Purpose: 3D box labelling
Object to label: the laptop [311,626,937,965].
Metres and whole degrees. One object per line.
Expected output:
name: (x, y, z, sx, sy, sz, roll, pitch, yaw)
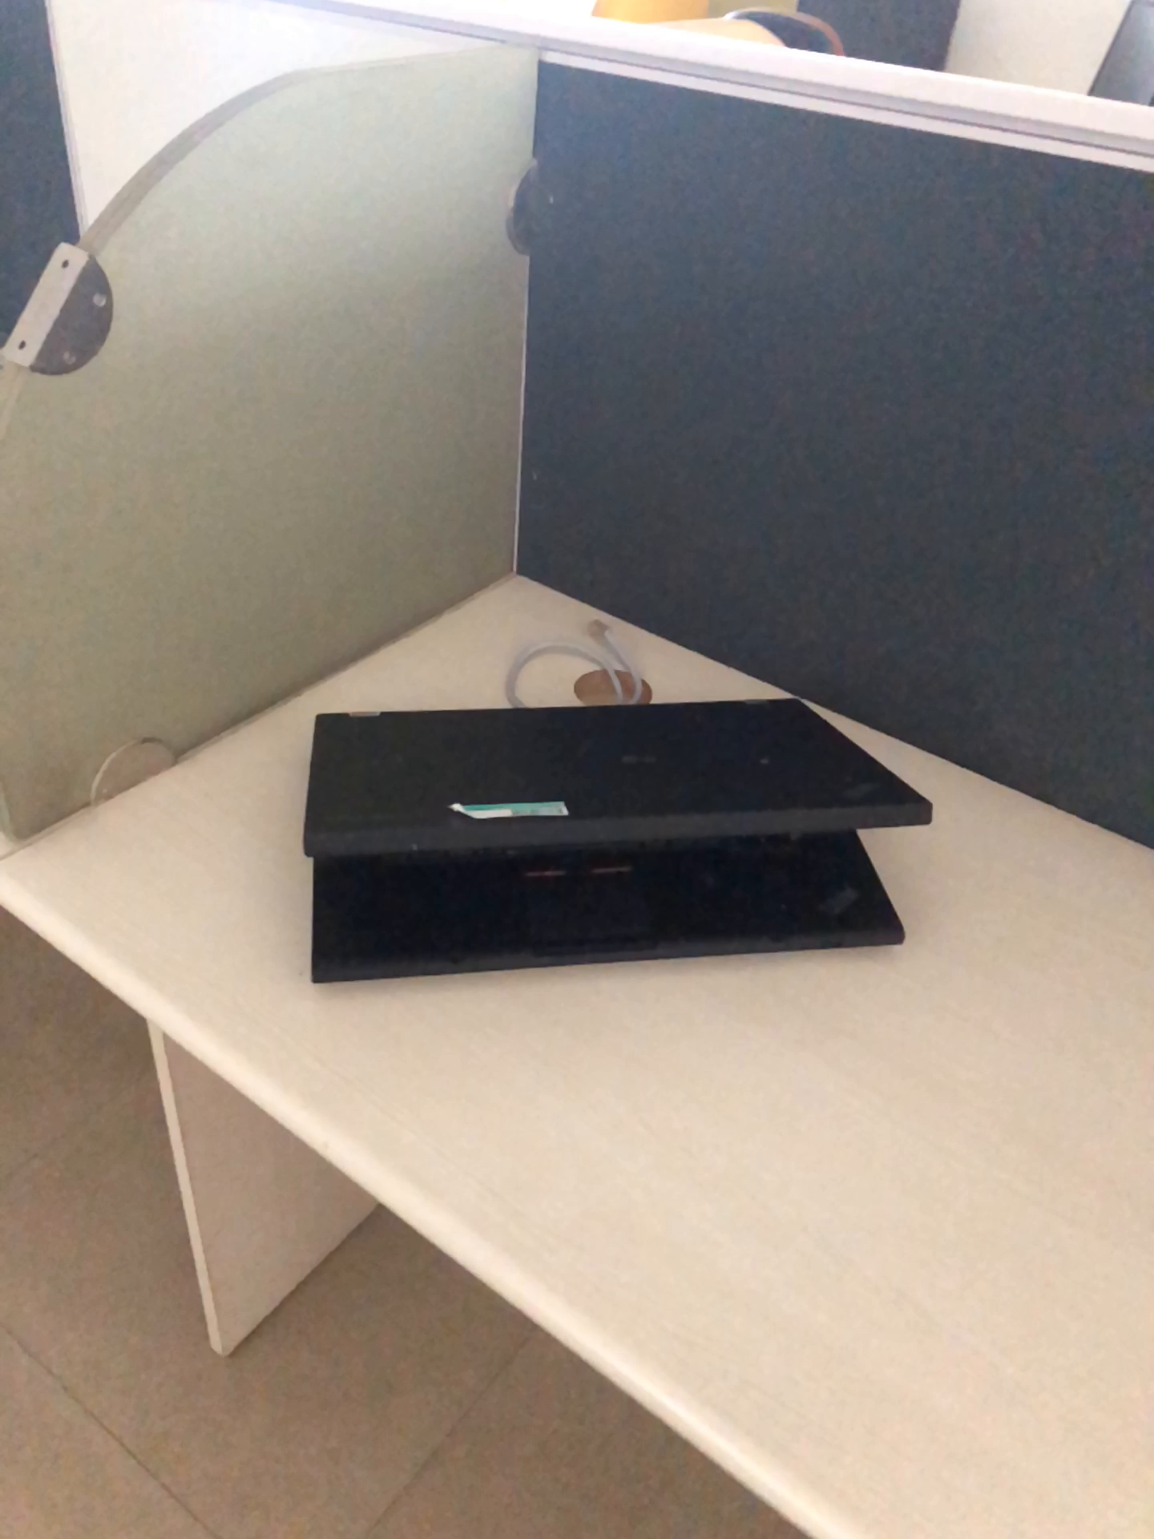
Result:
laptop: (0.013, 0.004, 0.833, 0.363, 0.077, 0.236, -2, 38, -10)
